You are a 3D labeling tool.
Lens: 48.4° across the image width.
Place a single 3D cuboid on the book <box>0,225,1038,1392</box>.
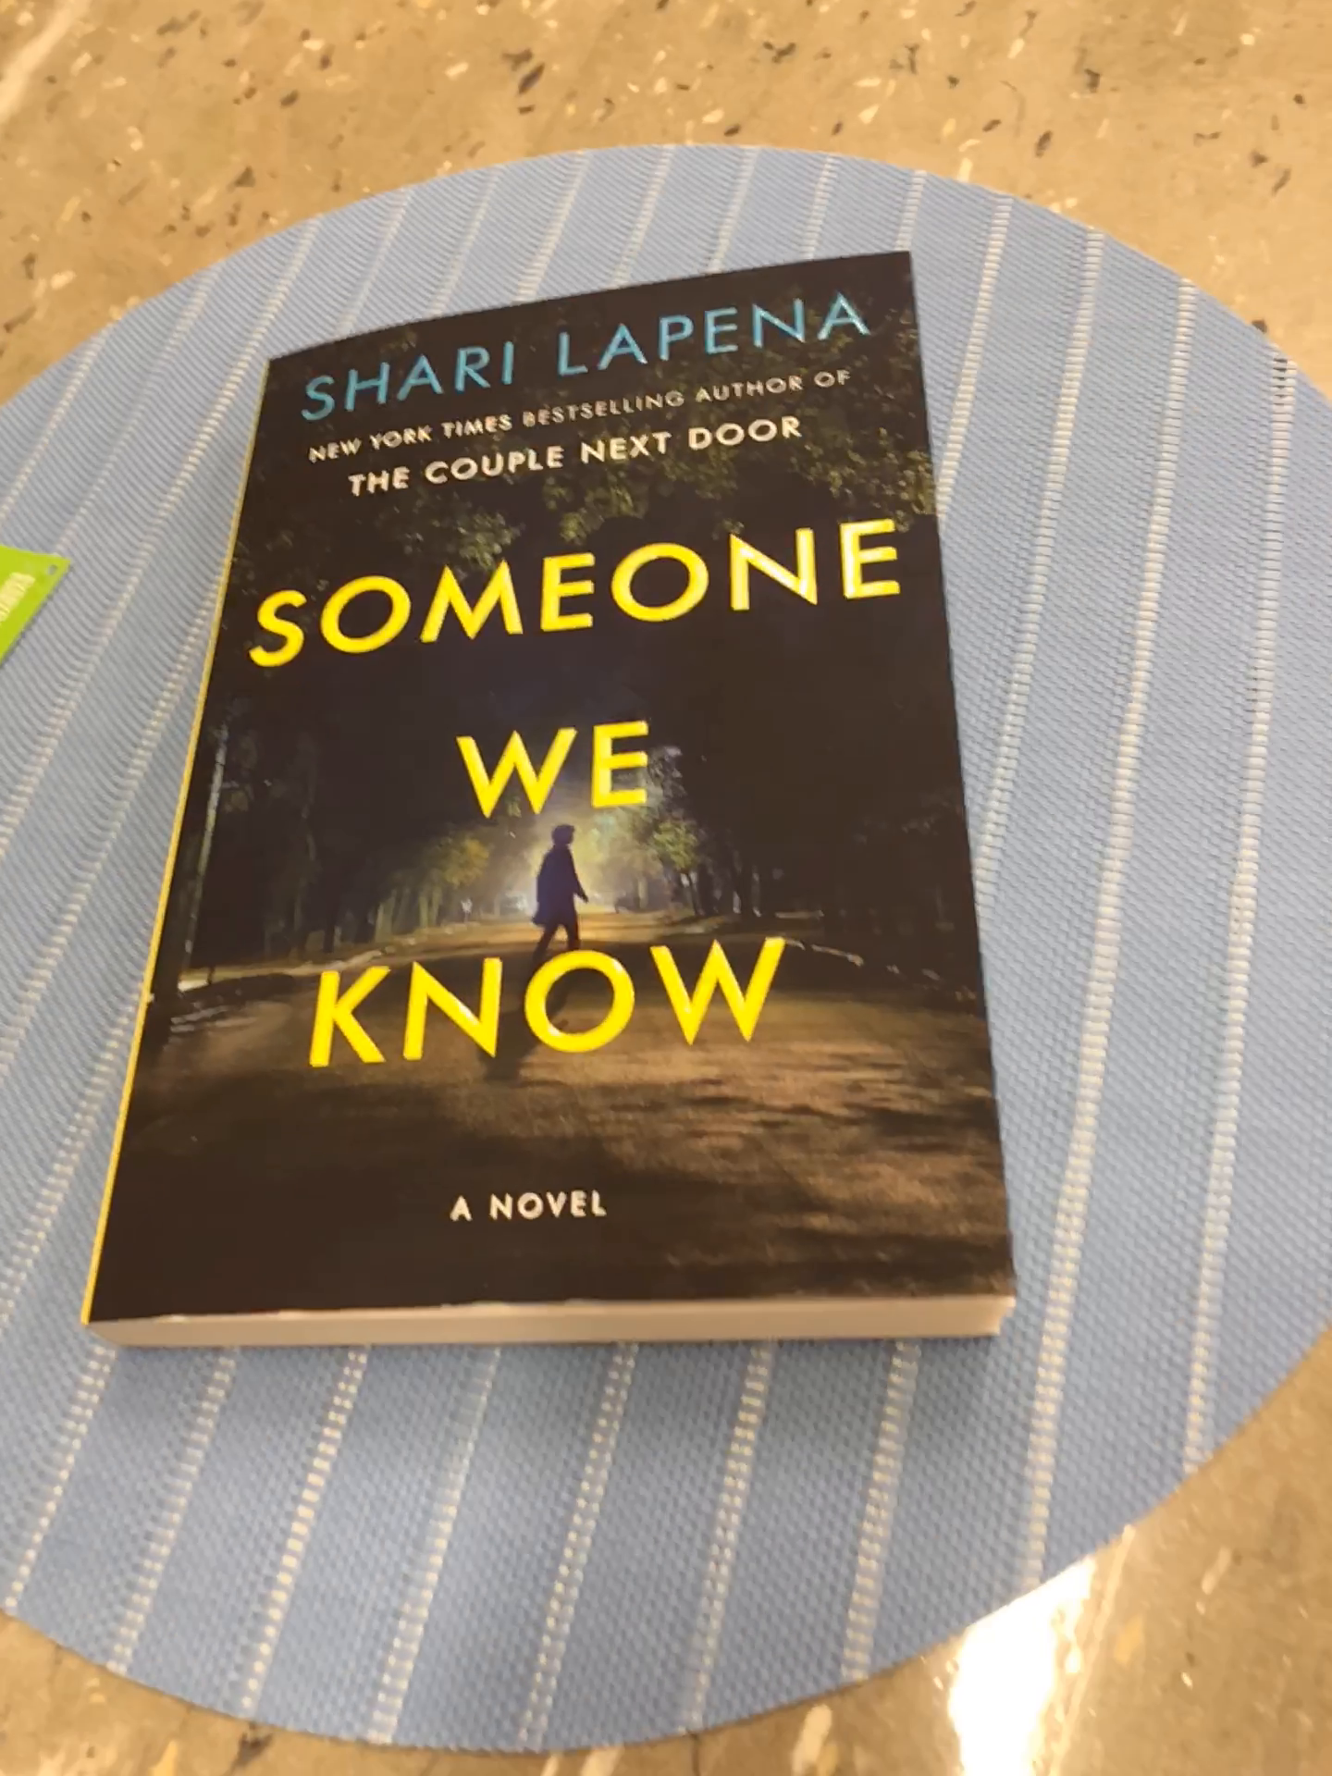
[{"bbox_3d":[-0.024,-0.025,0.284,0.161,0.030,0.225,-5,62,10],"label":"book"}]
